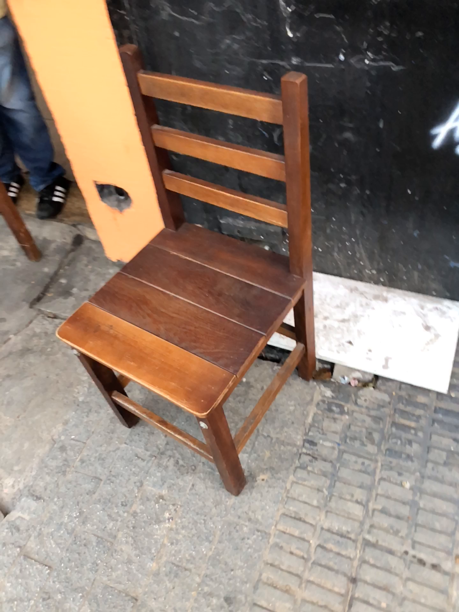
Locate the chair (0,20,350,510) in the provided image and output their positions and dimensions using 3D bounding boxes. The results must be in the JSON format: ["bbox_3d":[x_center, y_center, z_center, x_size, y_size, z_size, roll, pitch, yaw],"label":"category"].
[{"bbox_3d":[-0.076,-0.052,1.142,0.461,0.893,0.502,24,55,28],"label":"chair"}]
